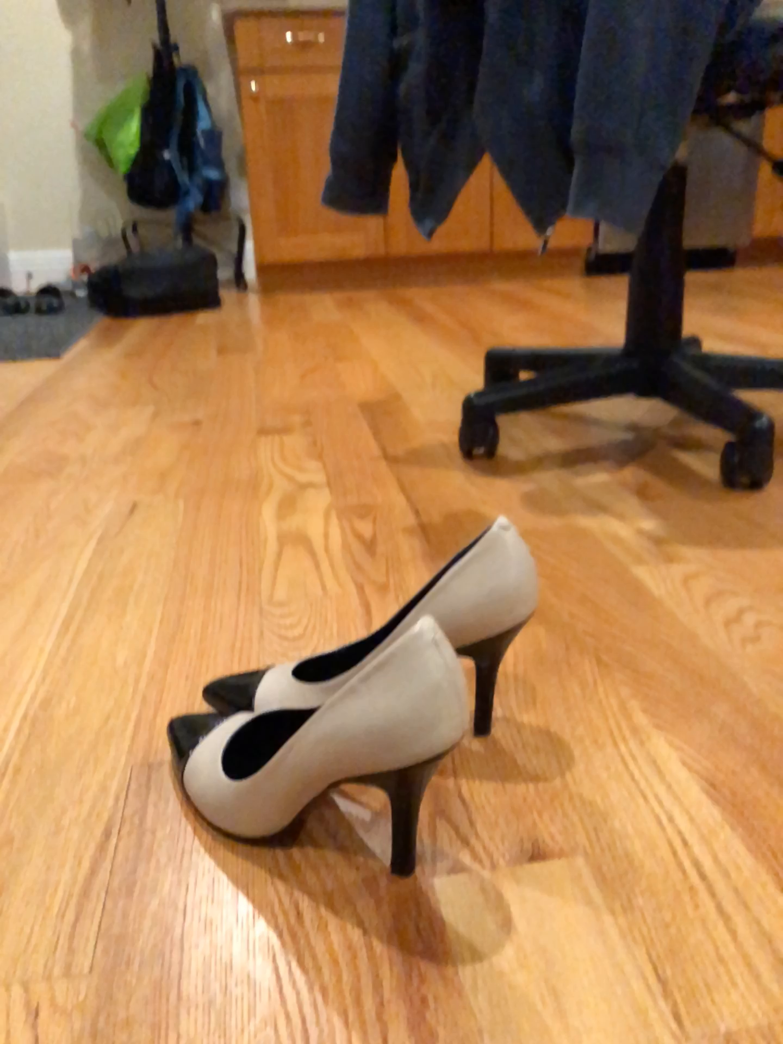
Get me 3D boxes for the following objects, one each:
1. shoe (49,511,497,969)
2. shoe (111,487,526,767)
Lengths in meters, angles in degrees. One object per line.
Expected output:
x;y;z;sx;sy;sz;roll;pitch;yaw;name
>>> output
-0.067;0.093;0.452;0.235;0.138;0.085;14;25;38;shoe
-0.037;0.060;0.540;0.235;0.138;0.085;2;20;10;shoe
